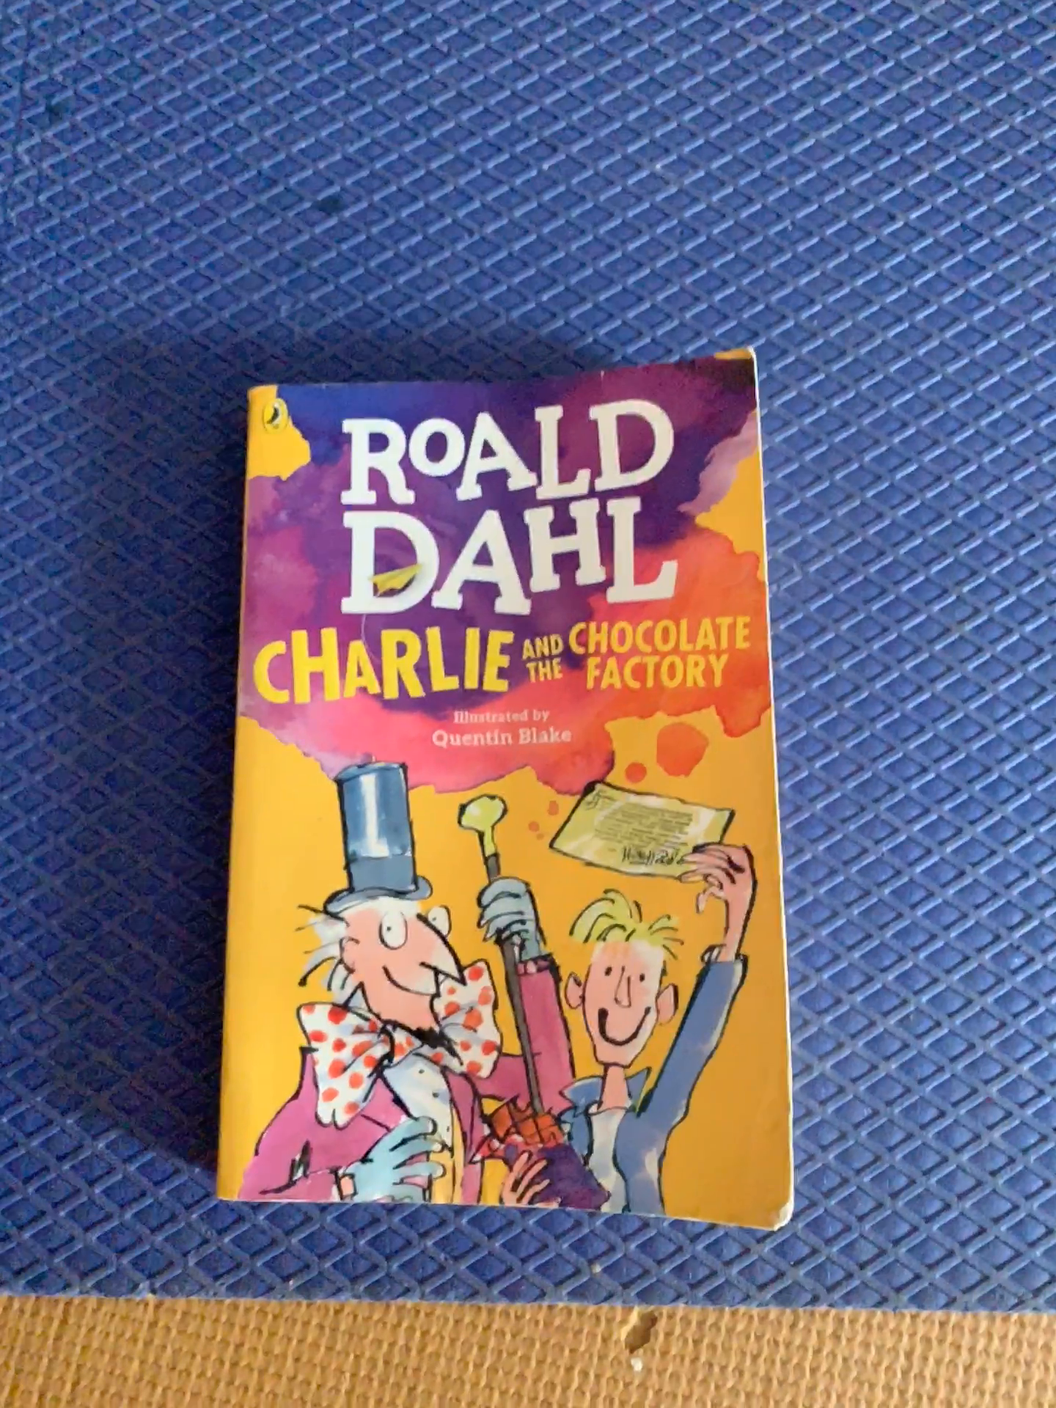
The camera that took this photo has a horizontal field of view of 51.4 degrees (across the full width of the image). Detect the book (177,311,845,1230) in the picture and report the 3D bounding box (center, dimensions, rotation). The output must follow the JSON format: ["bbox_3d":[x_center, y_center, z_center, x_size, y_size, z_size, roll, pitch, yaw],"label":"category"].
[{"bbox_3d":[-0.005,0.009,0.260,0.140,0.020,0.210,-1,79,0],"label":"book"}]
